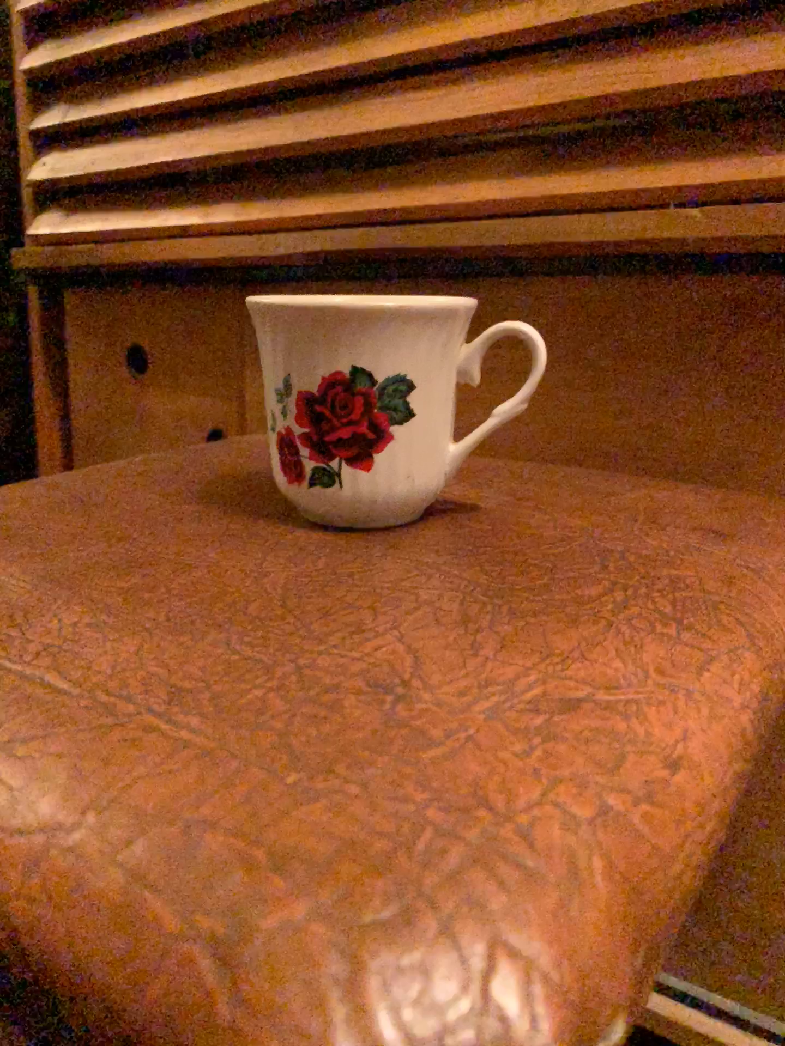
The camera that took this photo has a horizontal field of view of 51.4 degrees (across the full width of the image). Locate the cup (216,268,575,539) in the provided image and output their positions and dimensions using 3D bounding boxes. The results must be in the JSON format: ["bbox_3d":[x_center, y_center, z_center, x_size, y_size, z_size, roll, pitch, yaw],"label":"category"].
[{"bbox_3d":[0.004,-0.048,0.300,0.111,0.082,0.085,3,14,8],"label":"cup"}]
